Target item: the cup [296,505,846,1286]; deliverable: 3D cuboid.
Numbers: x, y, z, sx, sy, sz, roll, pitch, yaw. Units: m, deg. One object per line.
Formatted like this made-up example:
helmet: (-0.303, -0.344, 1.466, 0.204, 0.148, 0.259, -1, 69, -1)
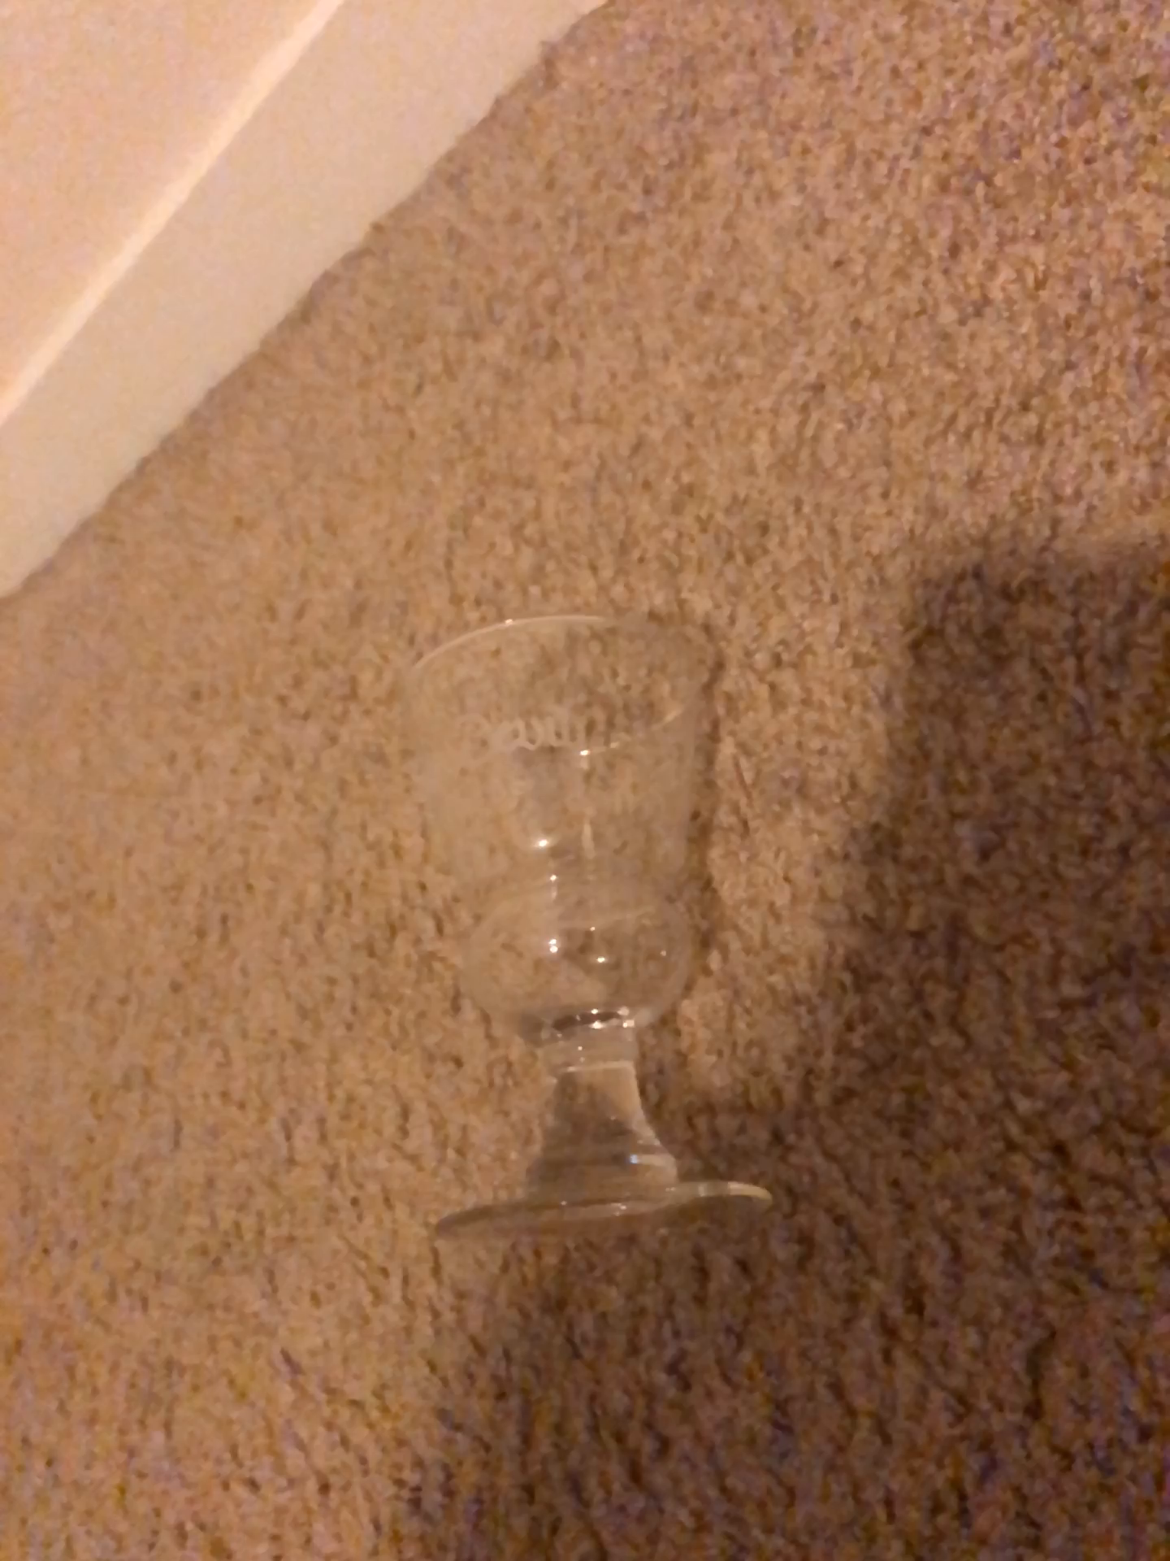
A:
cup: (-0.010, 0.034, 0.323, 0.095, 0.078, 0.158, -30, 53, 40)
